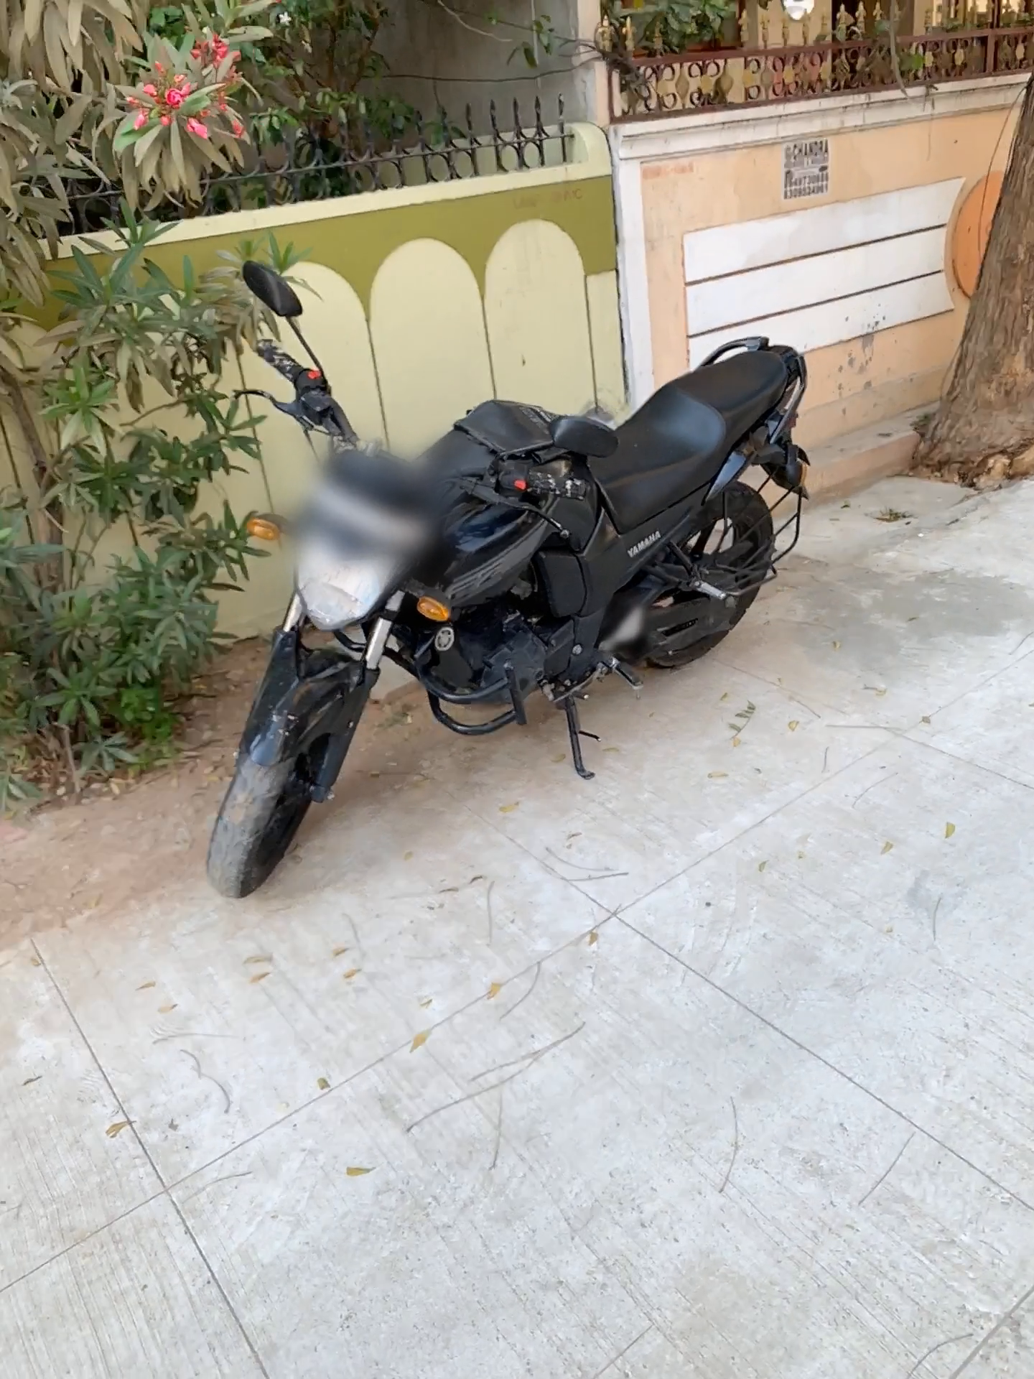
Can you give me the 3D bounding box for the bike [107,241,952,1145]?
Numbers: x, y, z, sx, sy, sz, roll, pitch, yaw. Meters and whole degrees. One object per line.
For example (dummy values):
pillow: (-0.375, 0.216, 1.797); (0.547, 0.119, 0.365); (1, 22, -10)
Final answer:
bike: (0.145, -0.184, 2.335); (1.685, 1.076, 0.749); (-30, 33, -30)
